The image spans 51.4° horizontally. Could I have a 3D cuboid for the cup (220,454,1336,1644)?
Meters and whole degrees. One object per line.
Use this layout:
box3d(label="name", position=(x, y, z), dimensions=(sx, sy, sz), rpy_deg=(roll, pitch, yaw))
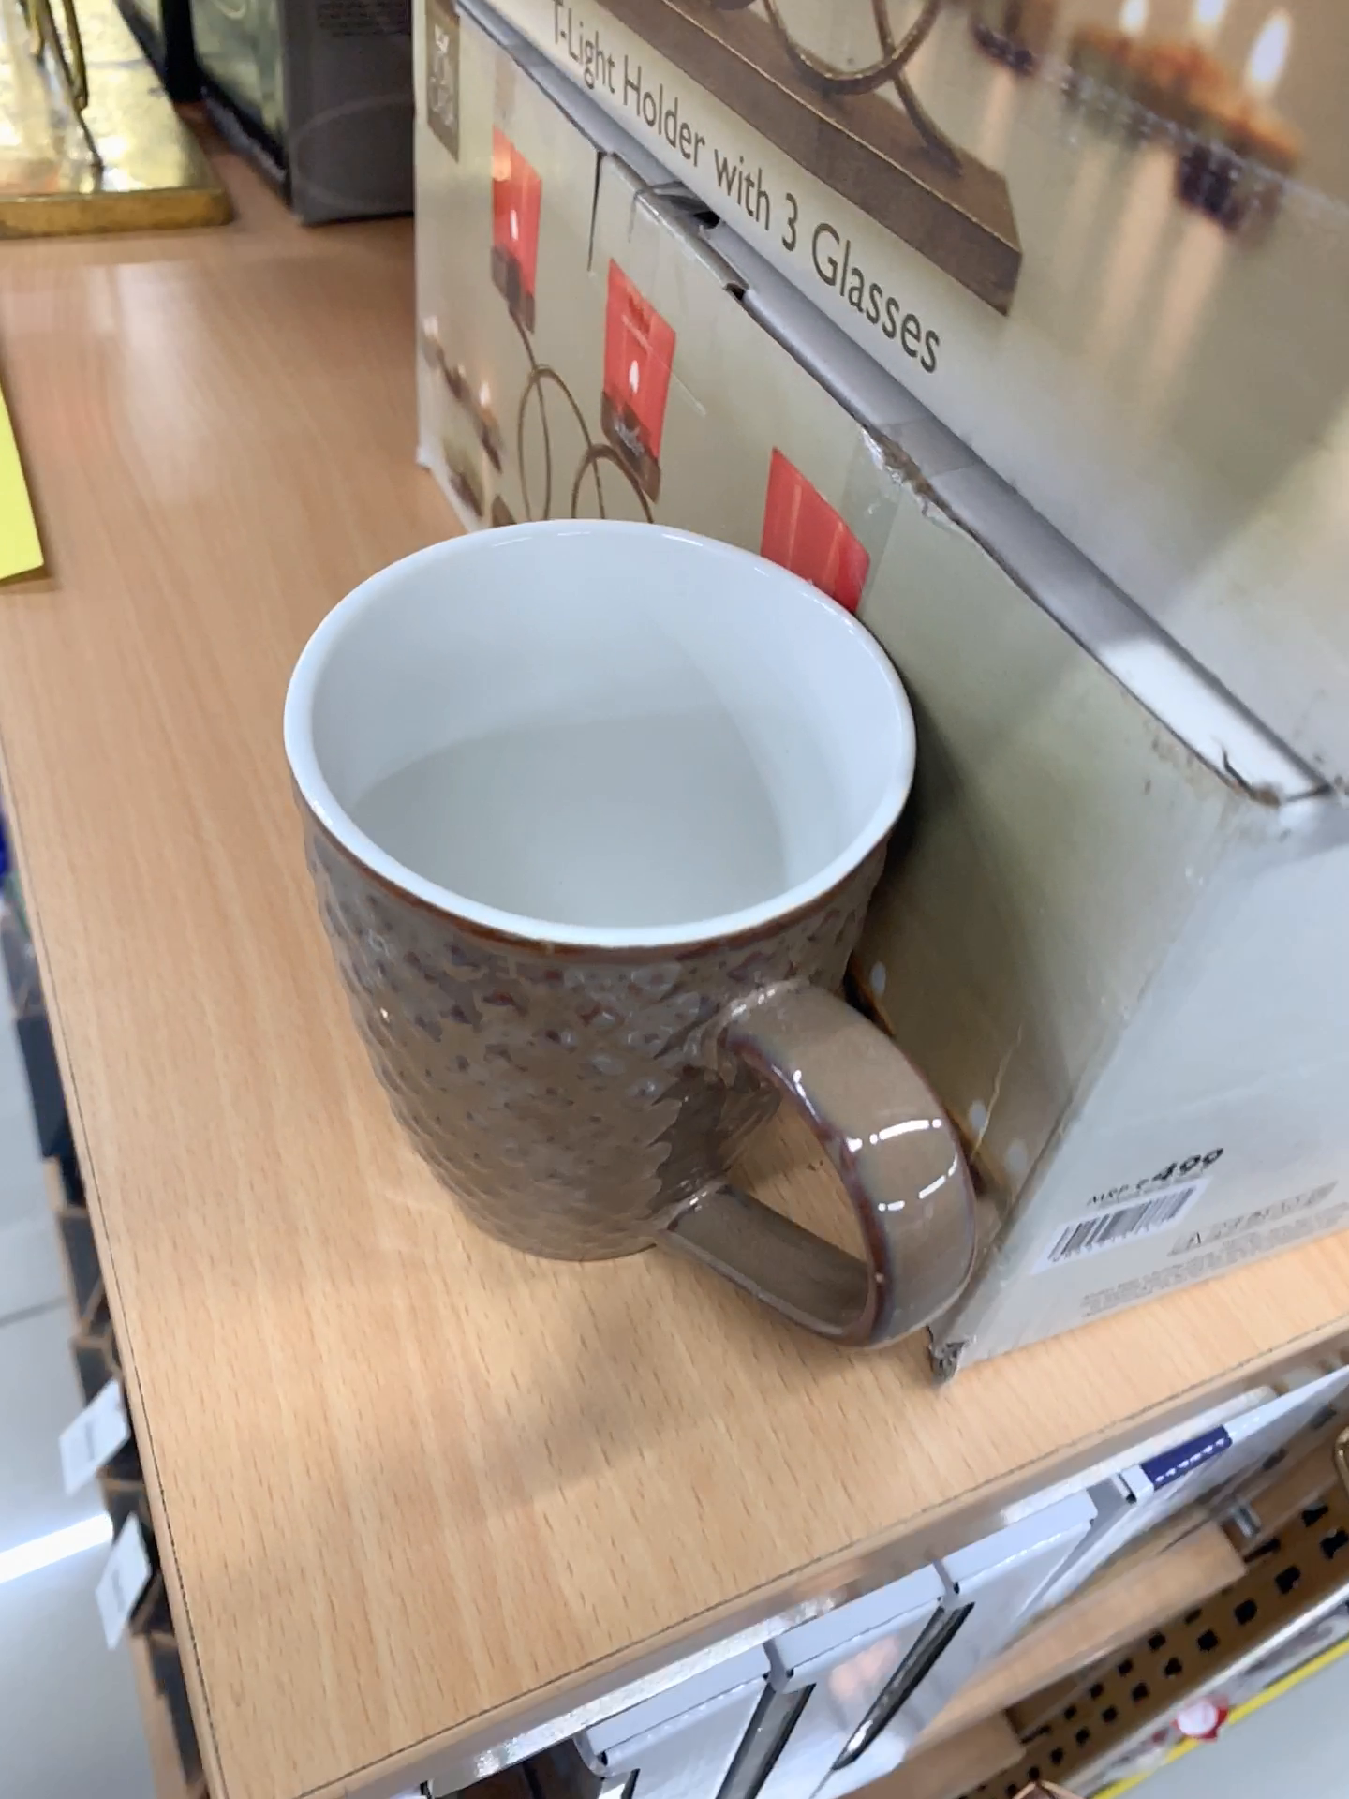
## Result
box3d(label="cup", position=(0.000, 0.013, 0.211), dimensions=(0.090, 0.090, 0.130), rpy_deg=(-17, 53, -24))
